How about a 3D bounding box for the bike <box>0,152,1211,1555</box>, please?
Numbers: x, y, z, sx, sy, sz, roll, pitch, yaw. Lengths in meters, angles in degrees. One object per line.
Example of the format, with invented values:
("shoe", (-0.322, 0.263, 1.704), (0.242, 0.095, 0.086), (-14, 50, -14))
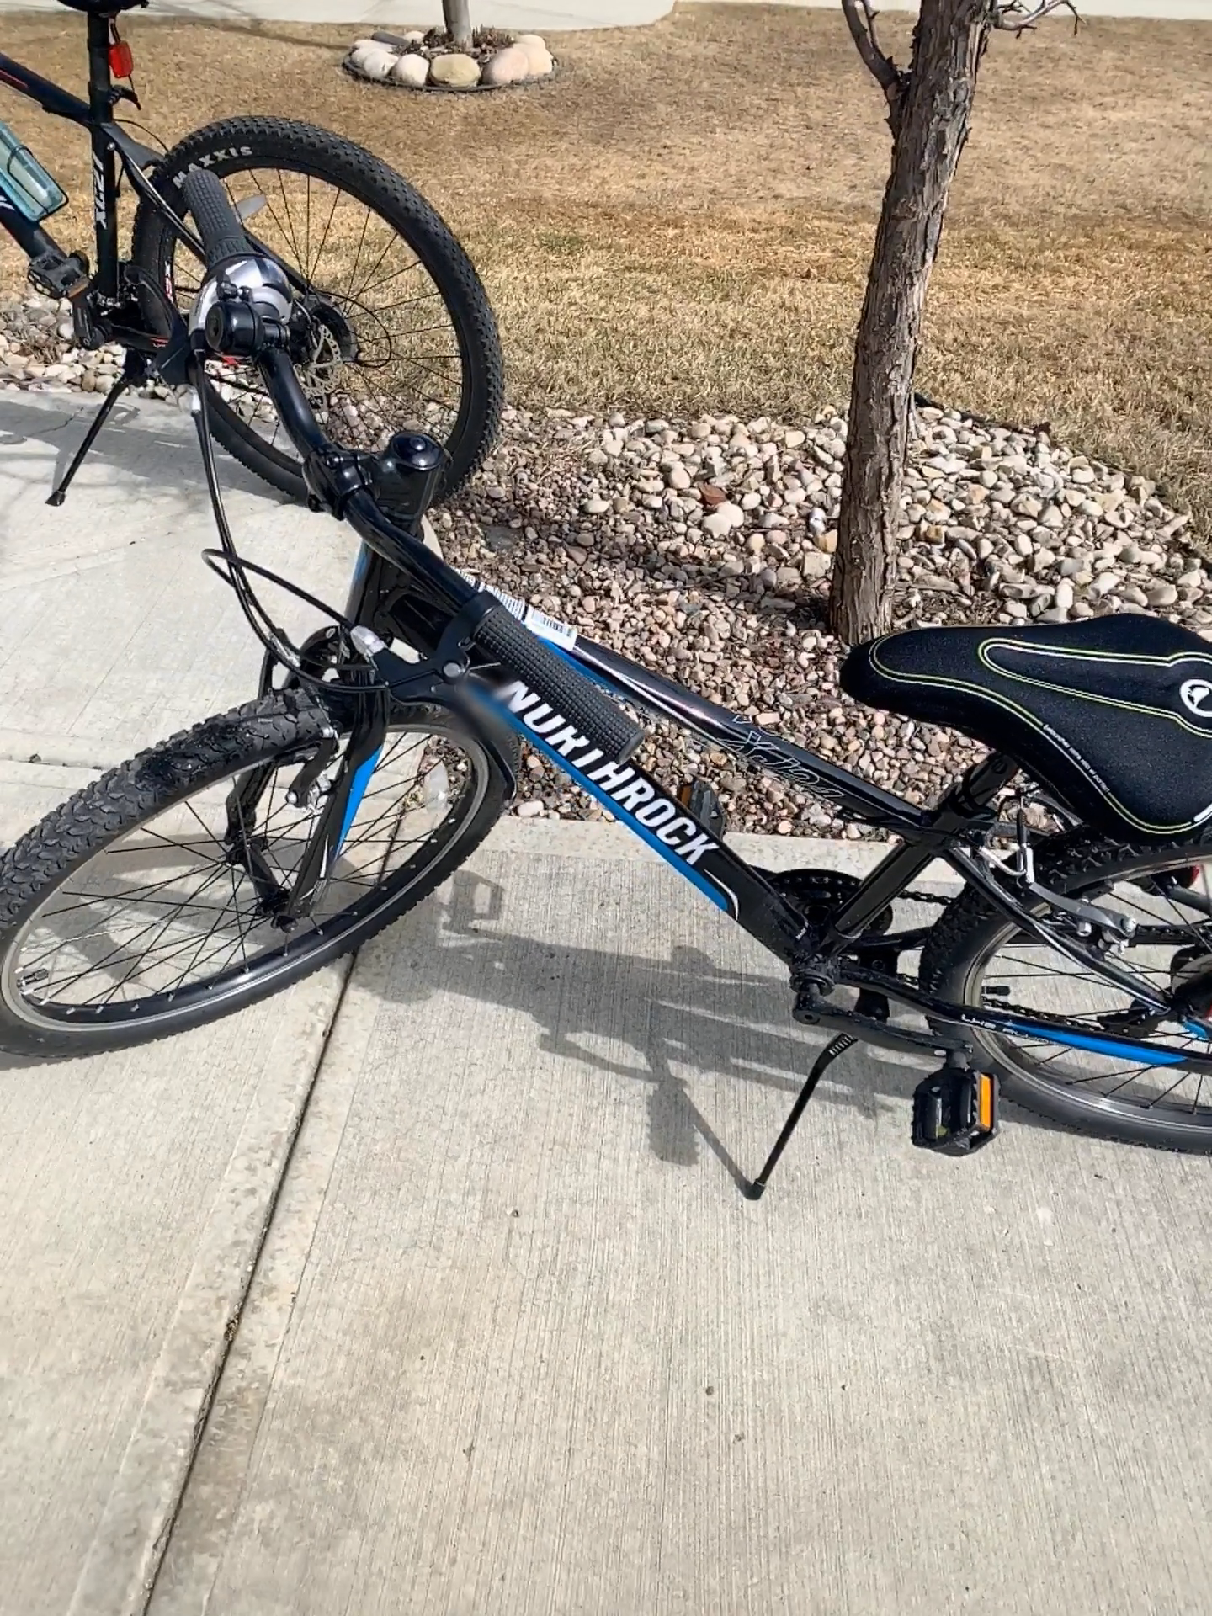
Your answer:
("bike", (0.097, 0.108, 0.984), (1.389, 0.885, 0.517), (0, 40, 8))
